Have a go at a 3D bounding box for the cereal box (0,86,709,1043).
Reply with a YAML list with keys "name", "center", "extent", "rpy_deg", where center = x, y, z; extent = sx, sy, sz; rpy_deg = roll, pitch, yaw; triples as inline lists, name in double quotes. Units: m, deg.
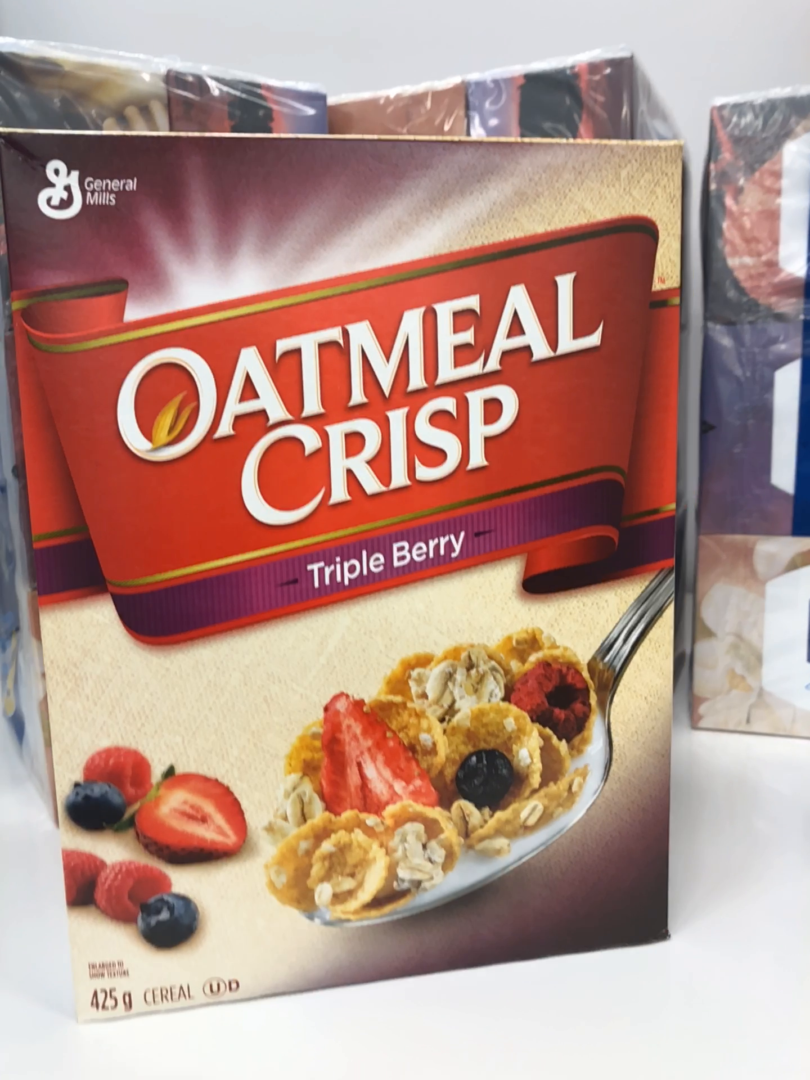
- name: "cereal box"
  center: [-0.012, 0.007, 0.296]
  extent: [0.200, 0.270, 0.060]
  rpy_deg: [-3, 9, -9]
